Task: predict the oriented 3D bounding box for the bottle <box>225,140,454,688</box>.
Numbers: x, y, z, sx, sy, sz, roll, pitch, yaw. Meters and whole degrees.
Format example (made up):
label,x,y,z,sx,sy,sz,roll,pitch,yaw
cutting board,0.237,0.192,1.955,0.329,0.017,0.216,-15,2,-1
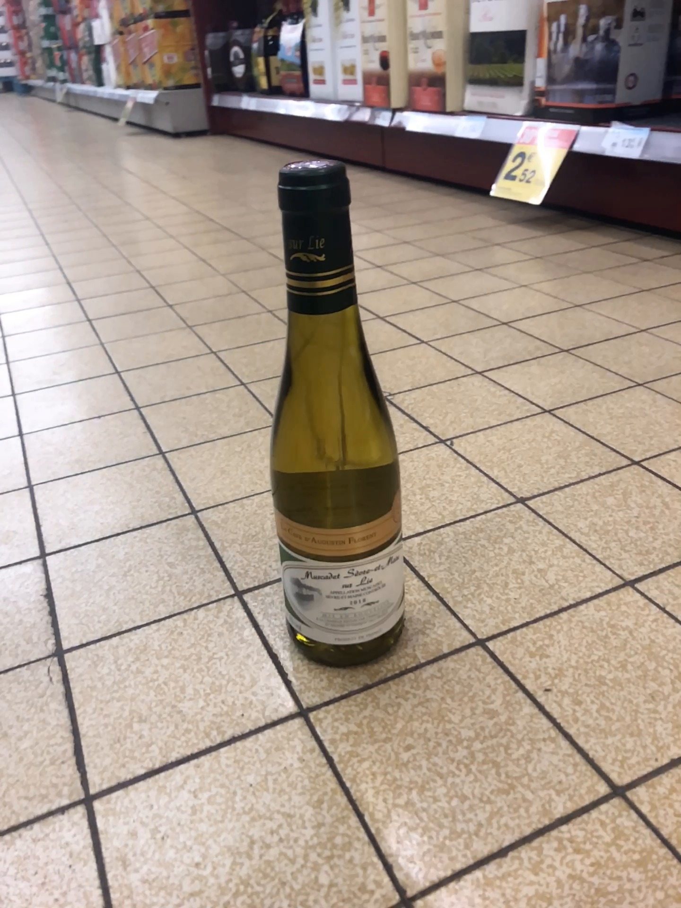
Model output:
label,x,y,z,sx,sy,sz,roll,pitch,yaw
bottle,0.005,-0.012,0.352,0.080,0.239,0.080,-3,27,2
